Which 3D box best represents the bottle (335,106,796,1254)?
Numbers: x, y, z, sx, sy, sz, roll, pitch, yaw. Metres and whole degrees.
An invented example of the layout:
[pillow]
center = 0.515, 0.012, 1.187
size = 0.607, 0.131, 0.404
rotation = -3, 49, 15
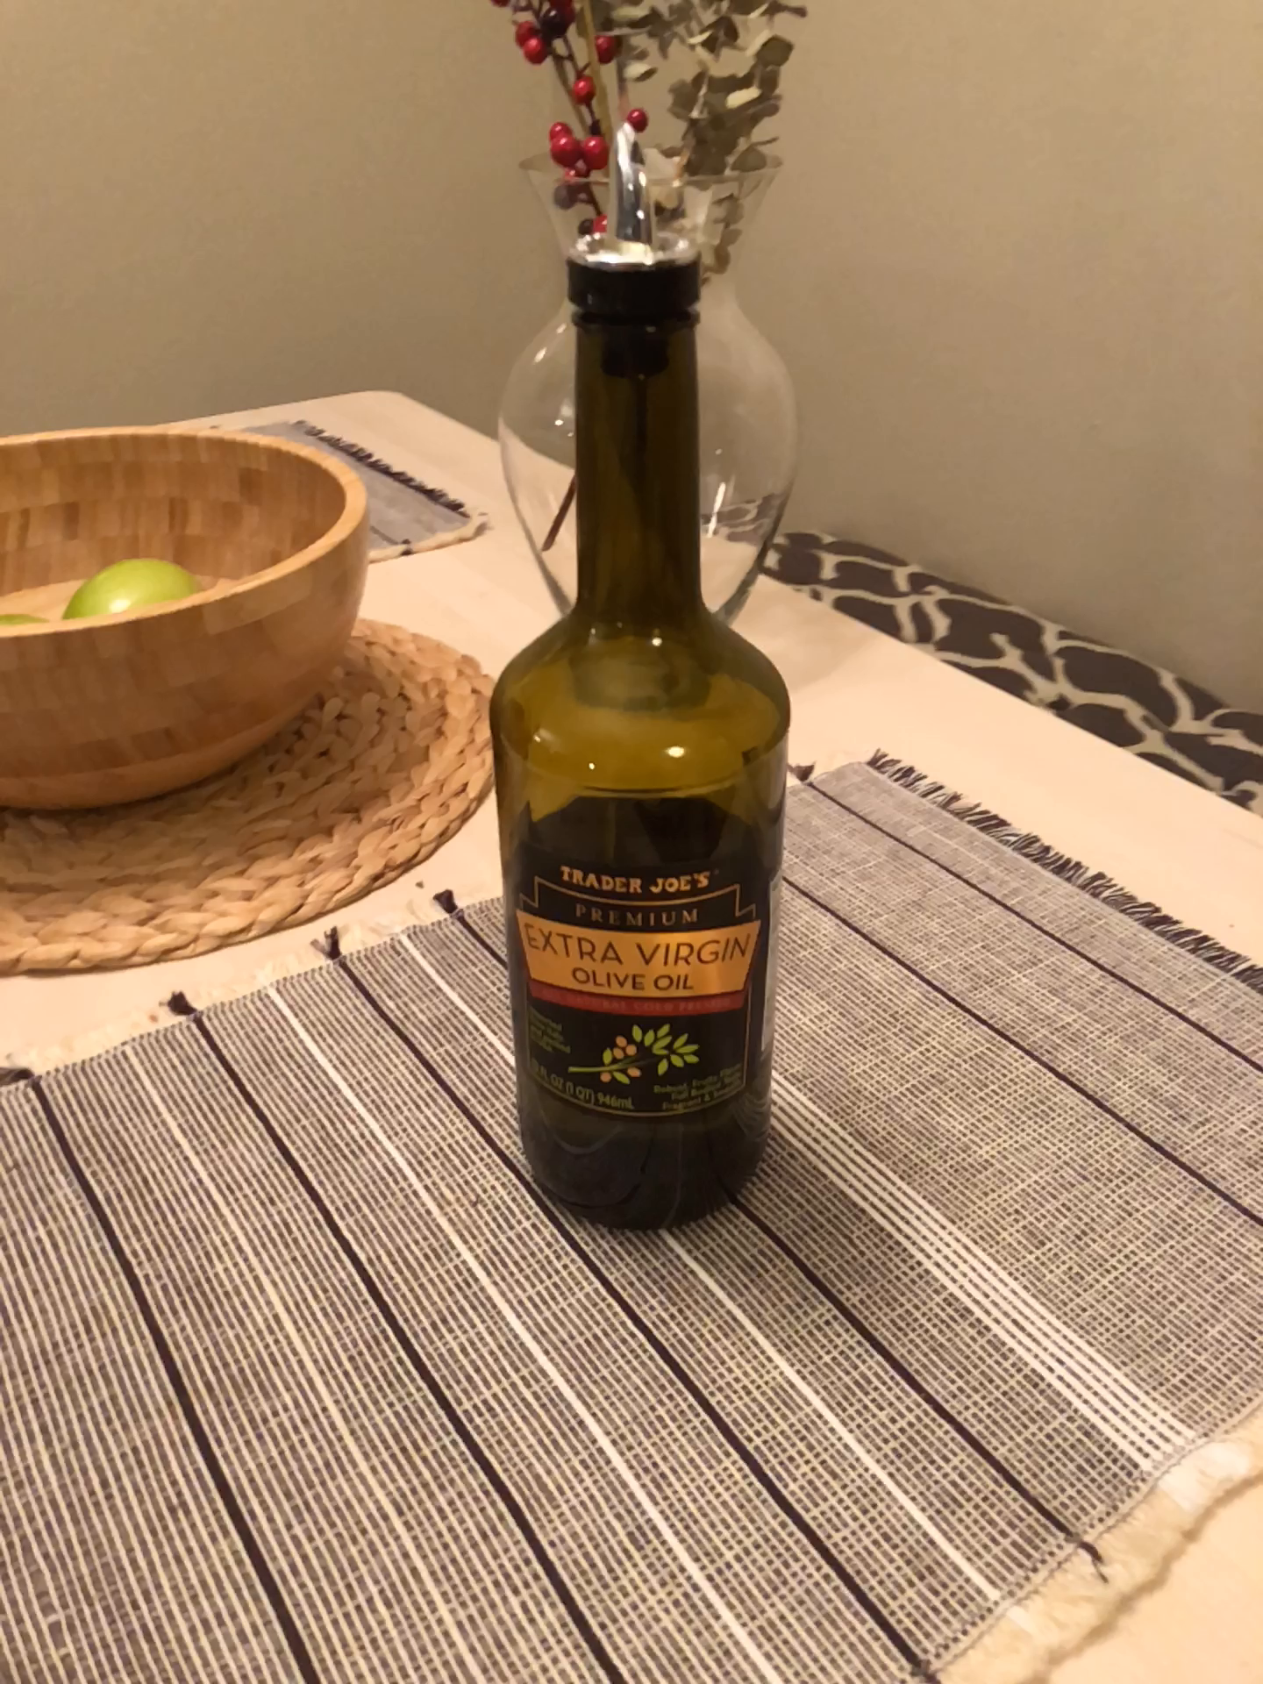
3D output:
[bottle]
center = -0.007, -0.031, 0.389
size = 0.090, 0.304, 0.095
rotation = -1, 31, 0
